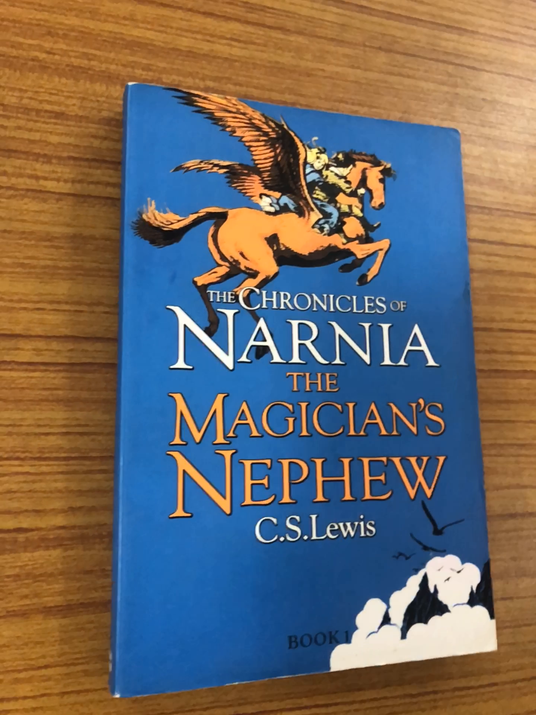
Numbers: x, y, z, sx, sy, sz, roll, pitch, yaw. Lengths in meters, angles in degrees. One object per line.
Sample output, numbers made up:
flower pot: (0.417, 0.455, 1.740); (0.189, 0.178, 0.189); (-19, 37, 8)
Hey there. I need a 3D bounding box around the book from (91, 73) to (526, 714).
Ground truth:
book: (0.013, 0.007, 0.213); (0.140, 0.030, 0.190); (1, 81, -16)
